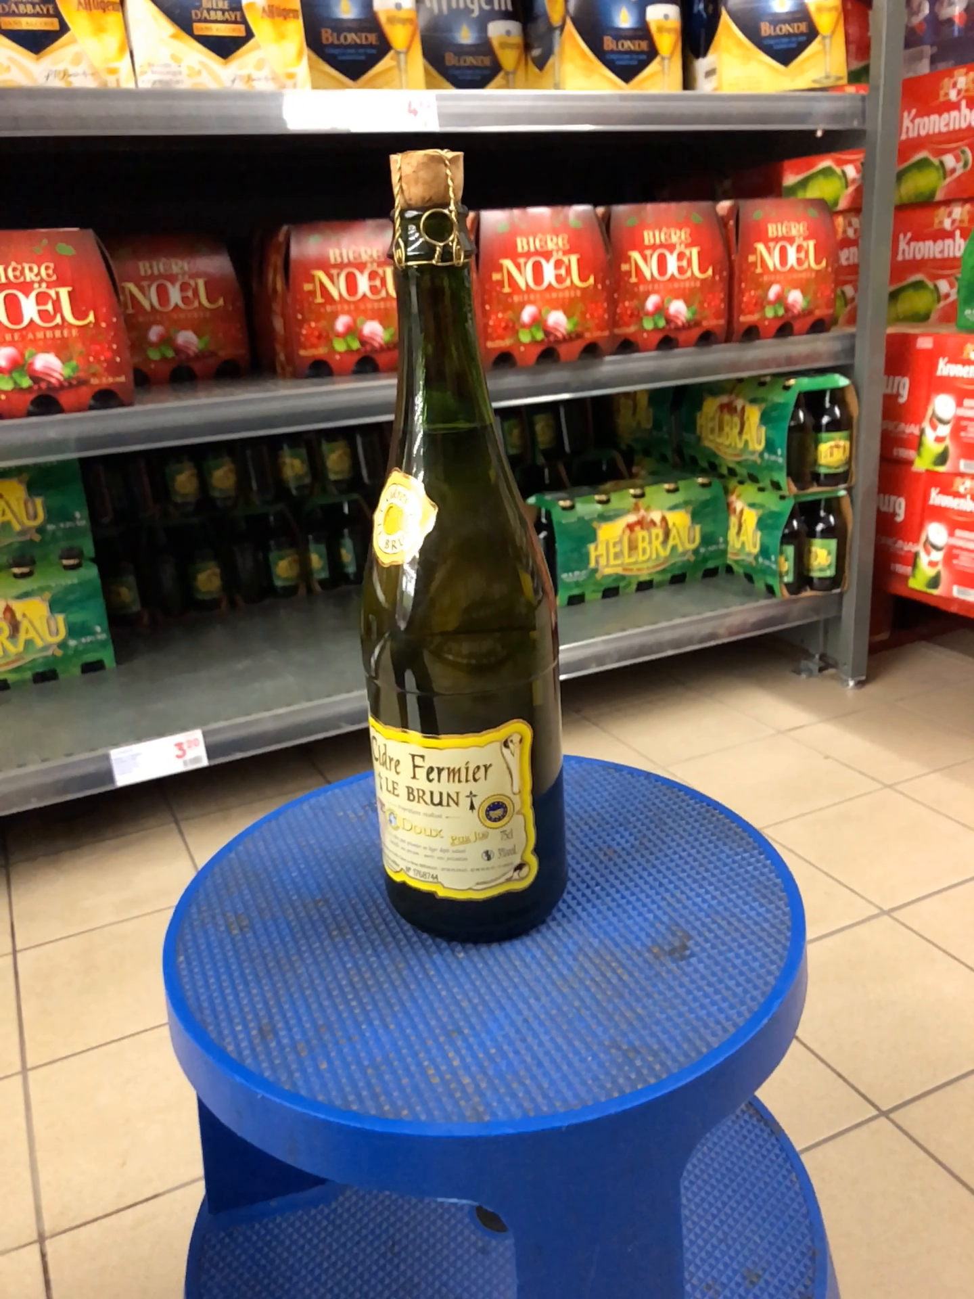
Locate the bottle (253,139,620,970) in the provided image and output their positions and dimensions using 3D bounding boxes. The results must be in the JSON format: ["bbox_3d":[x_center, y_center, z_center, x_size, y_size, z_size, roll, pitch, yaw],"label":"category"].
[{"bbox_3d":[-0.010,-0.035,0.435,0.090,0.299,0.090,-3,19,1],"label":"bottle"}]
